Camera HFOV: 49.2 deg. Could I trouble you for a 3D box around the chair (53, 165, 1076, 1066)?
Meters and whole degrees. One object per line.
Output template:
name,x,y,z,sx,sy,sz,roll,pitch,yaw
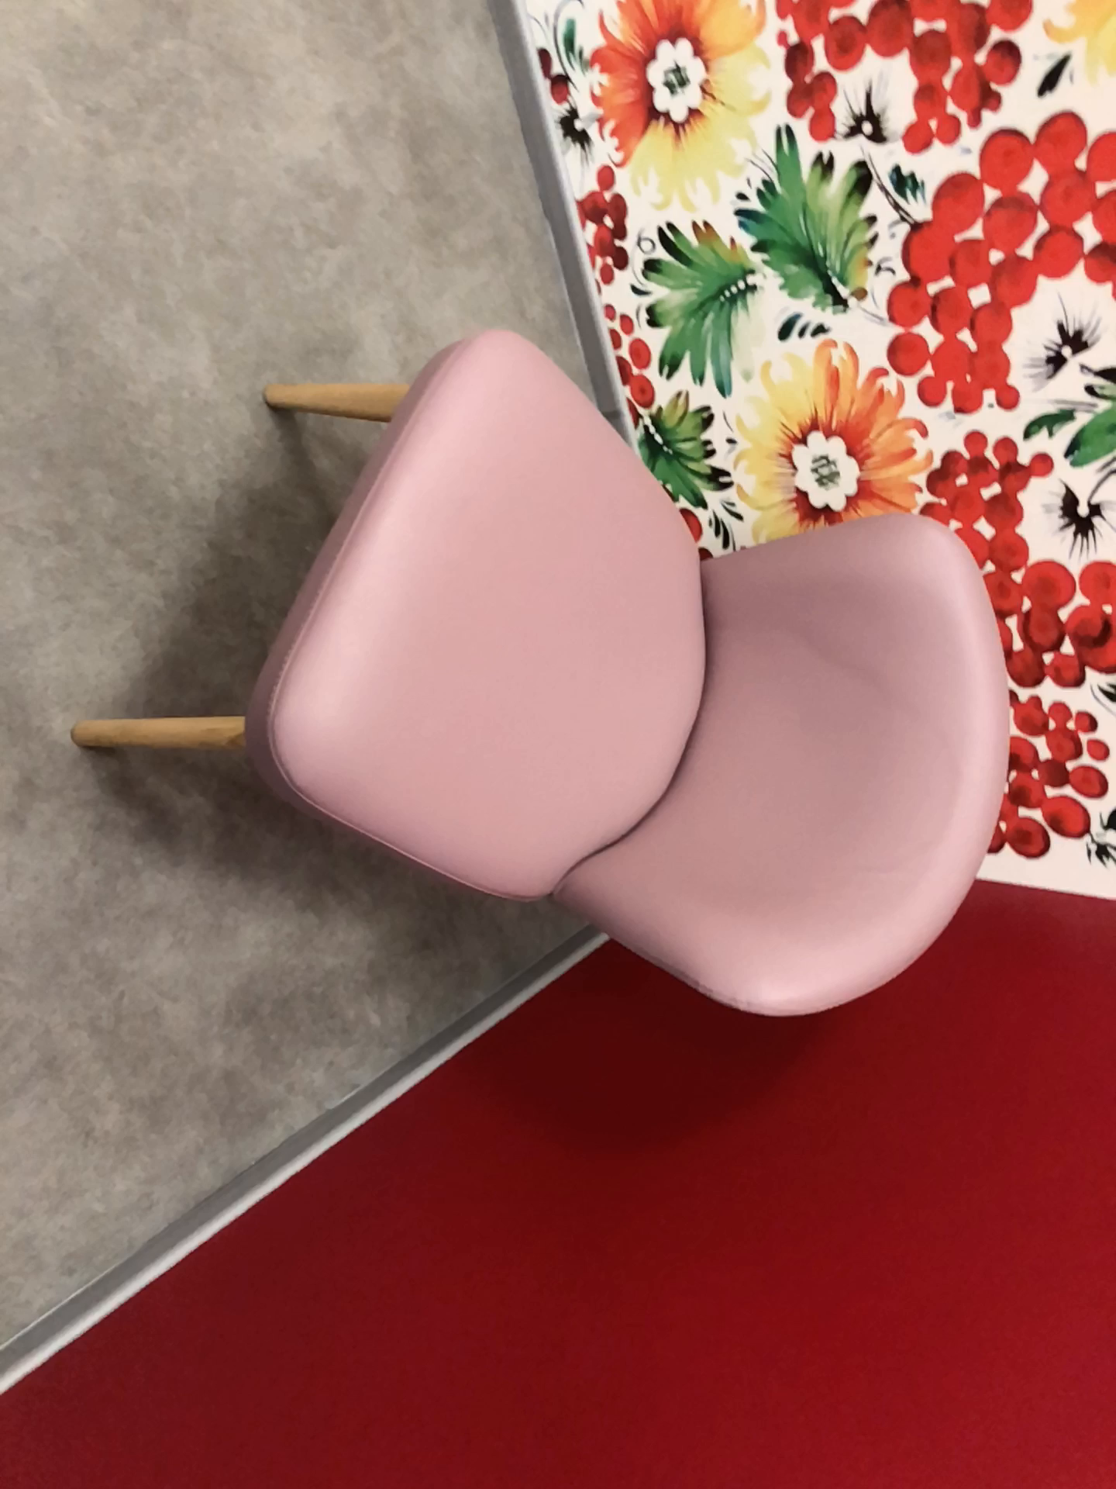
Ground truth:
chair,-0.018,-0.087,1.269,0.542,0.786,0.511,35,70,-37
